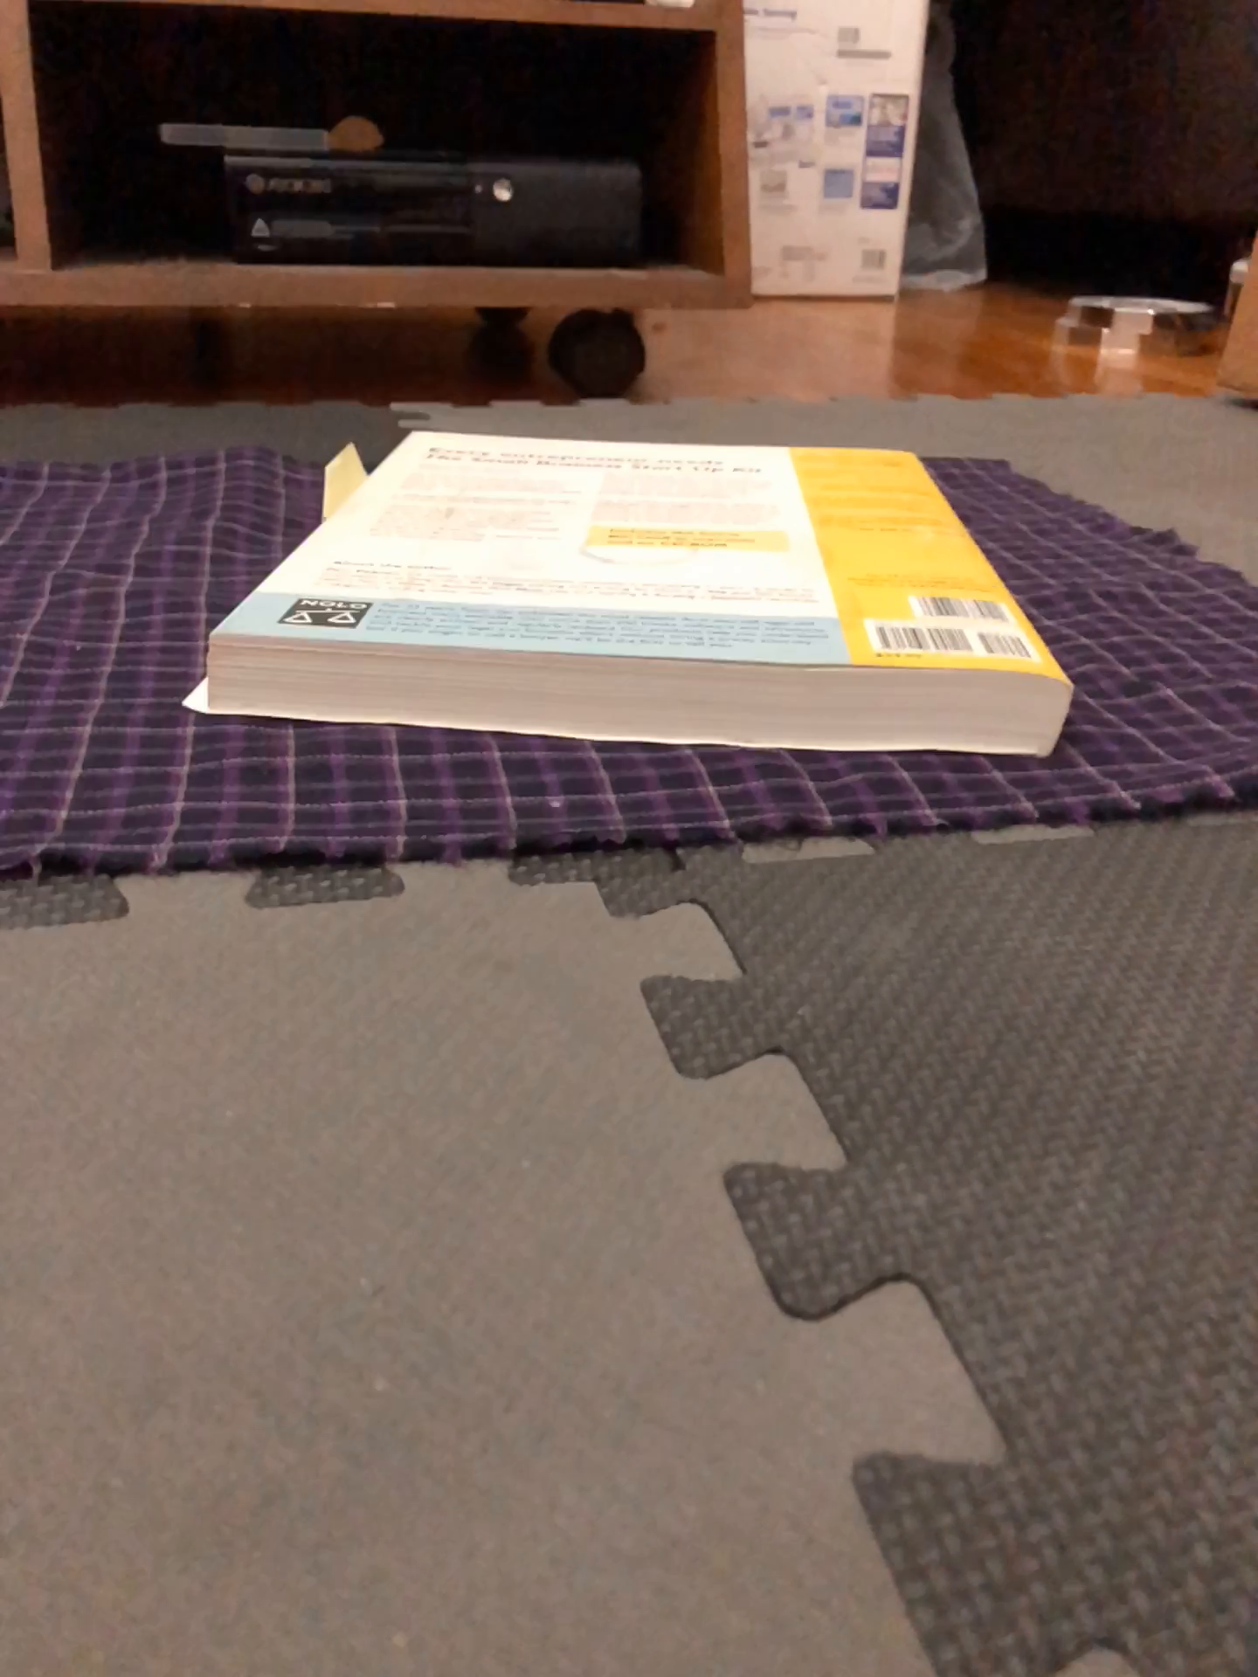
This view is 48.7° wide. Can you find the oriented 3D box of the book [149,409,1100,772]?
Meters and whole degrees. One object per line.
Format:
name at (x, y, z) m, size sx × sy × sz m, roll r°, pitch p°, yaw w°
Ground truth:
book at (0.005, -0.104, 0.482) m, size 0.230 × 0.030 × 0.312 m, roll 3°, pitch 26°, yaw 1°
